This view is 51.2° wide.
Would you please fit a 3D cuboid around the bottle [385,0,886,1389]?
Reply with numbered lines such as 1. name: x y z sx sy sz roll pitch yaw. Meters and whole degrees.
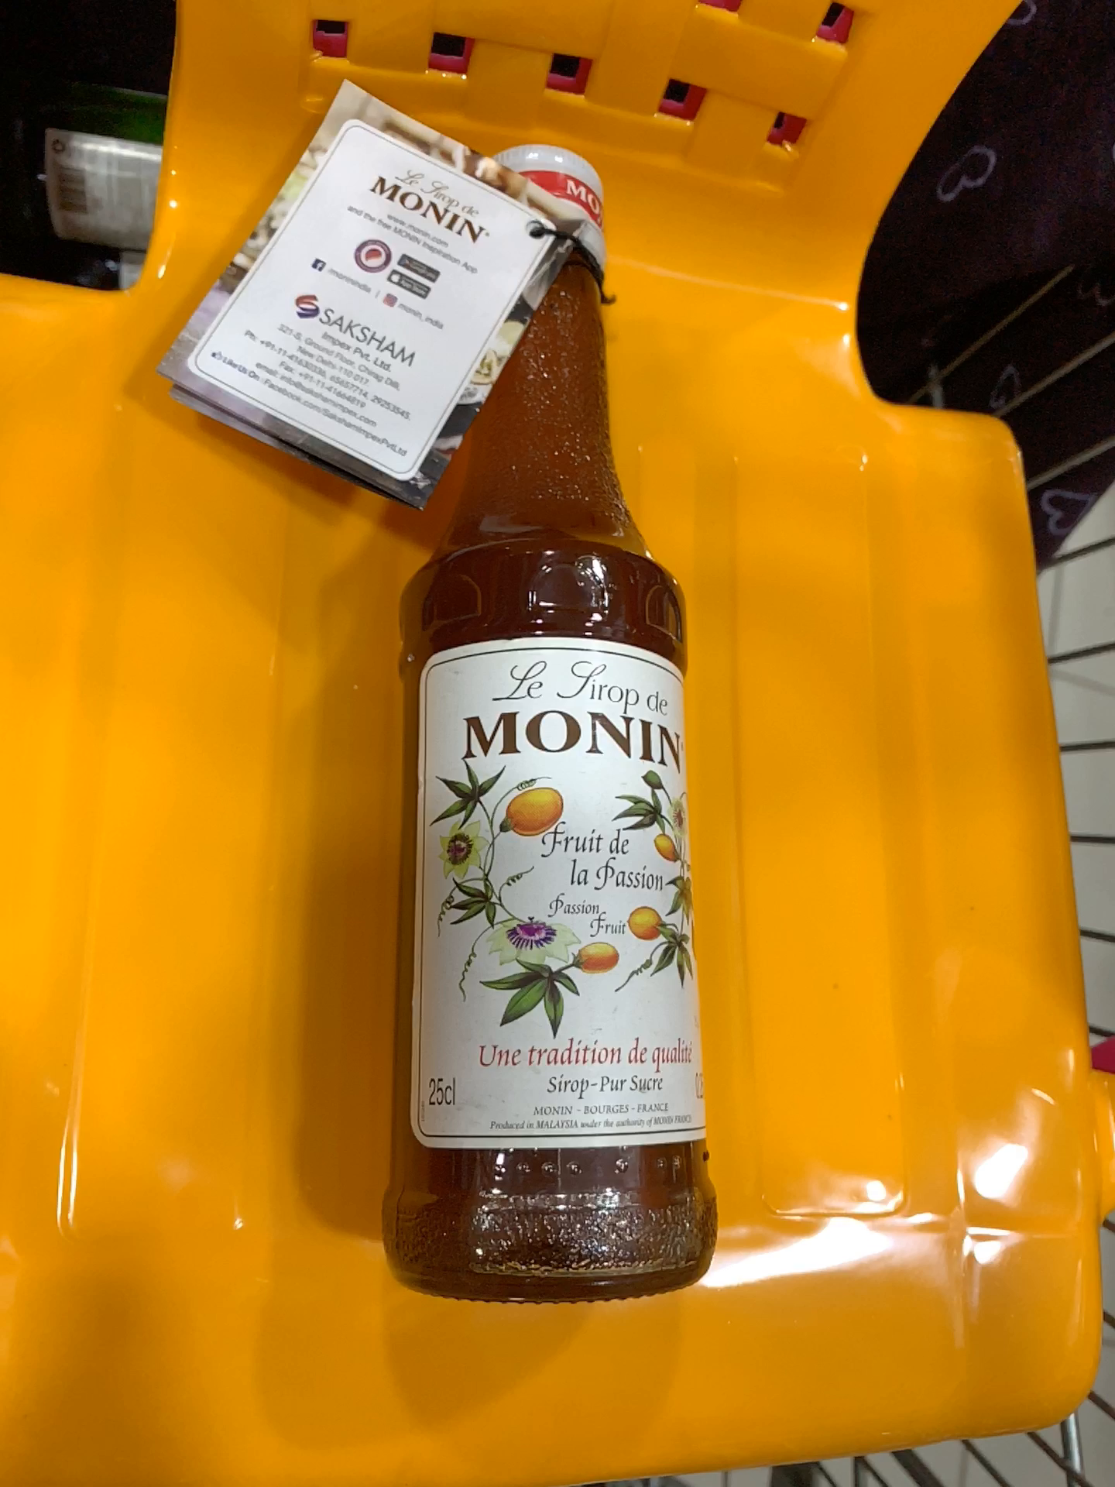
1. bottle: 0.009 -0.019 0.203 0.060 0.060 0.220 4 76 -14
